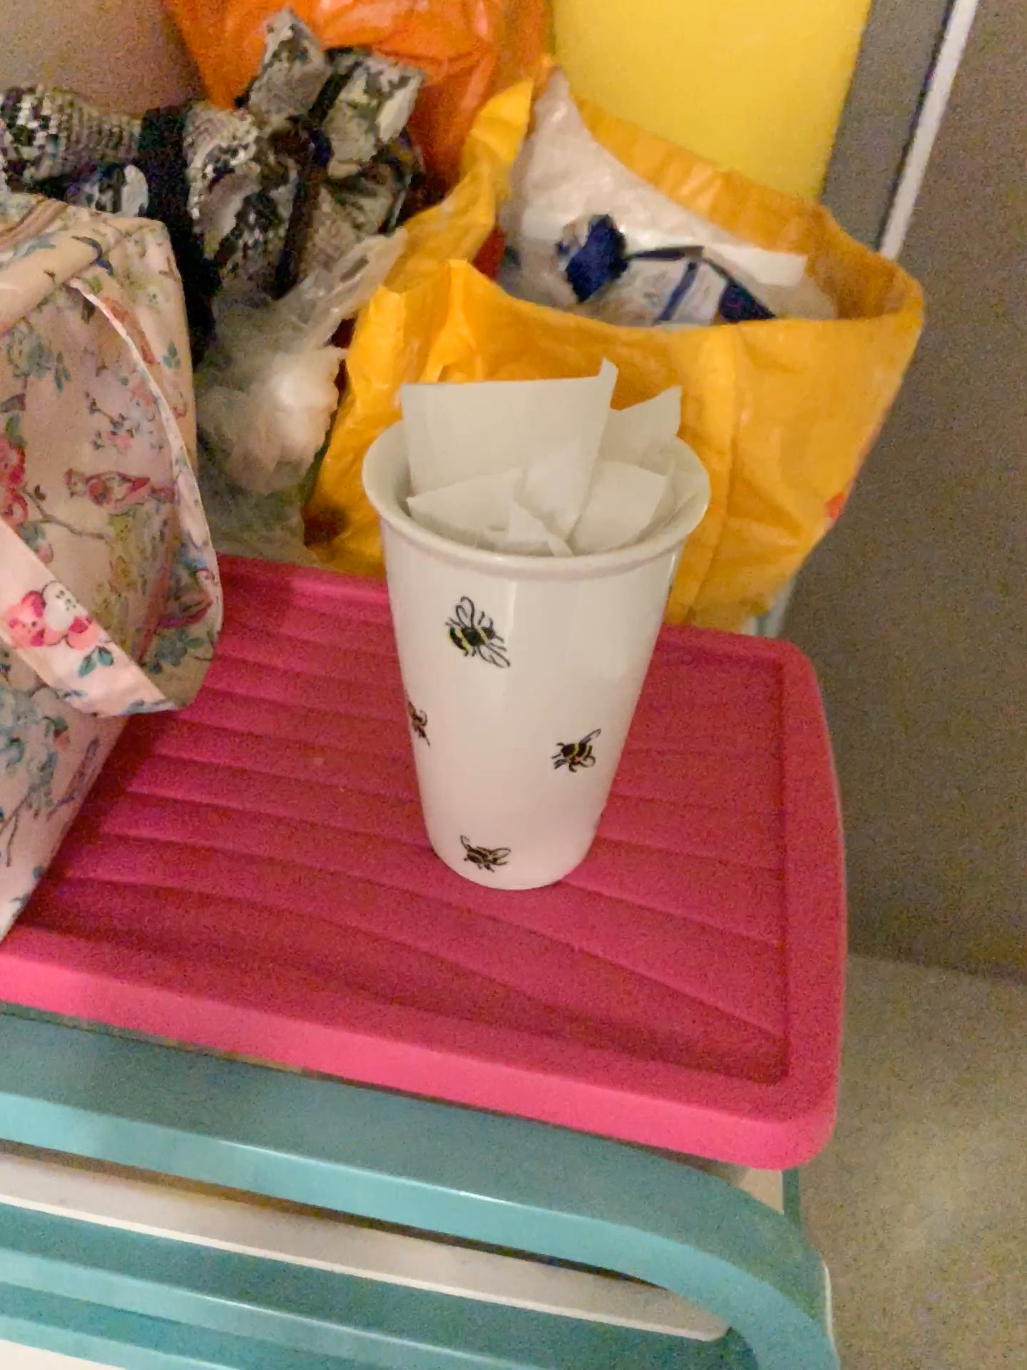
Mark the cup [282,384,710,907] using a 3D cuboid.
[{"bbox_3d":[-0.003,-0.012,0.313,0.098,0.112,0.091,3,38,-2],"label":"cup"}]
